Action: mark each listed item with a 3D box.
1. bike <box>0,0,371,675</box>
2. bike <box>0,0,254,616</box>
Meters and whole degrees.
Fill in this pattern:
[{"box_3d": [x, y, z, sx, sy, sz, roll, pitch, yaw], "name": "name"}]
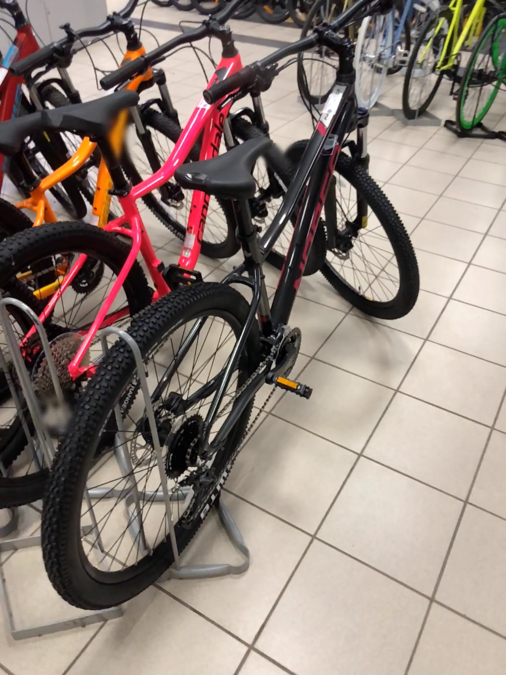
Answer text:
[{"box_3d": [-0.176, -0.225, 1.459, 0.685, 1.101, 1.586, 12, 38, 14], "name": "bike"}, {"box_3d": [-0.509, -0.400, 1.615, 0.653, 1.074, 1.572, 12, 41, 14], "name": "bike"}]
